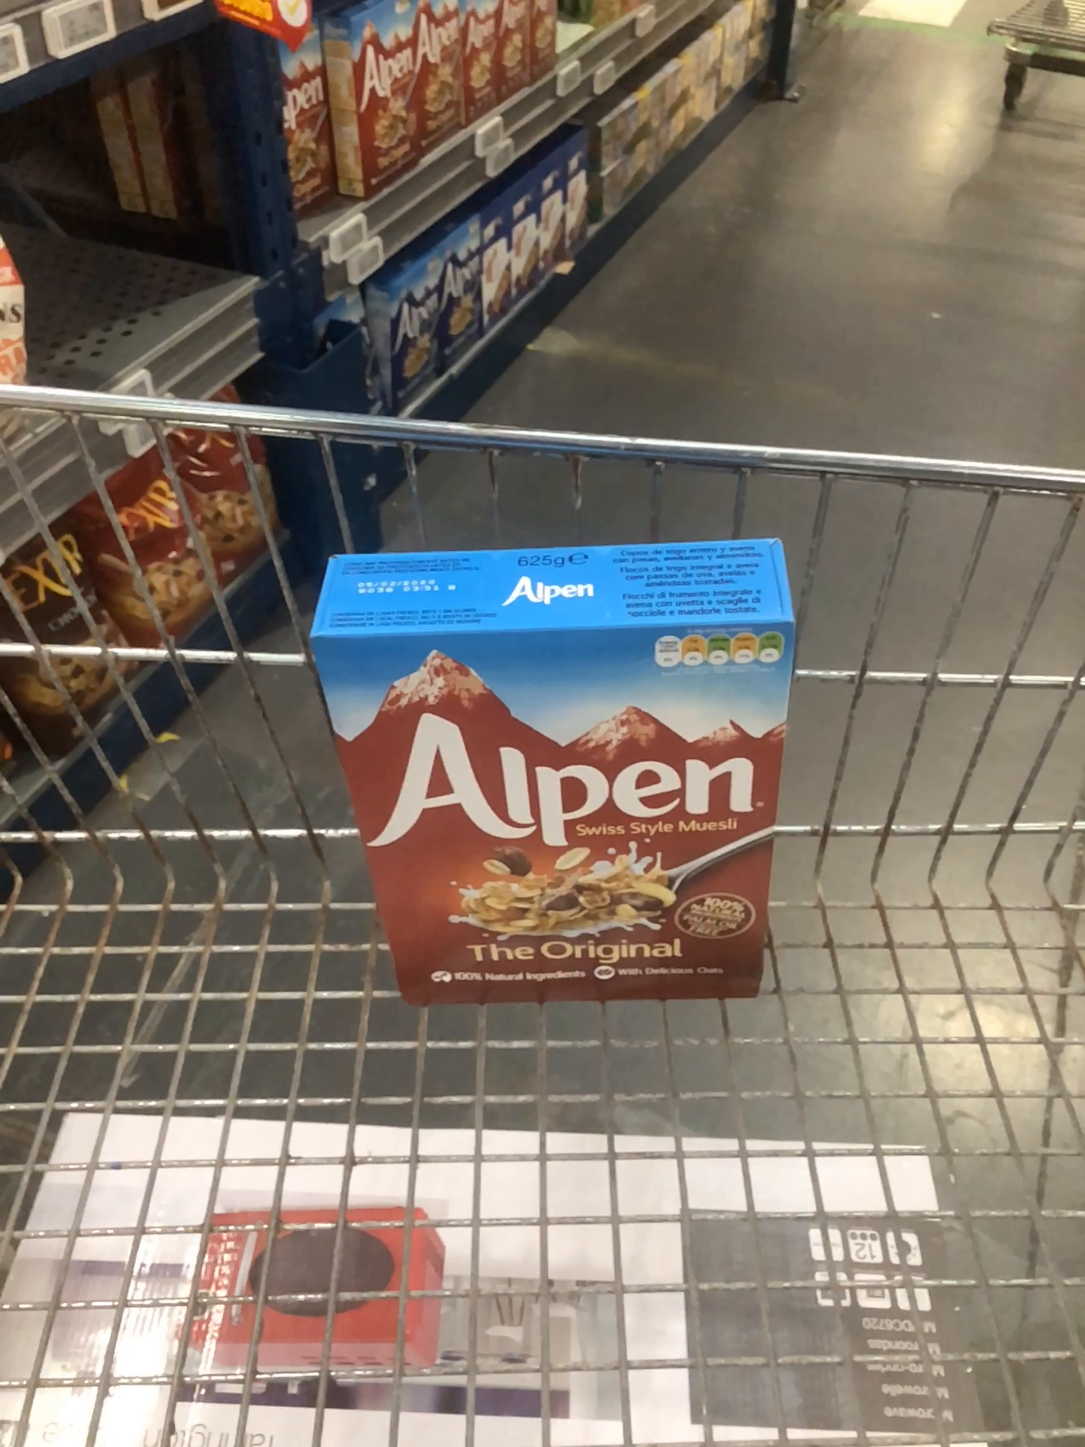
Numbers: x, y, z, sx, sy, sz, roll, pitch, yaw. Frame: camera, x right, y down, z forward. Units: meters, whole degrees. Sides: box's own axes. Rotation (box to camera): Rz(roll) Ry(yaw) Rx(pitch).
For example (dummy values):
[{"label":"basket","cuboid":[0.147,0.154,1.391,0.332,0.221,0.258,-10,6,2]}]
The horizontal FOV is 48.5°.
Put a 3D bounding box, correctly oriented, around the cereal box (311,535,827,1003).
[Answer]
[{"label":"cereal box","cuboid":[0.013,0.030,0.517,0.180,0.219,0.060,-1,43,2]}]
